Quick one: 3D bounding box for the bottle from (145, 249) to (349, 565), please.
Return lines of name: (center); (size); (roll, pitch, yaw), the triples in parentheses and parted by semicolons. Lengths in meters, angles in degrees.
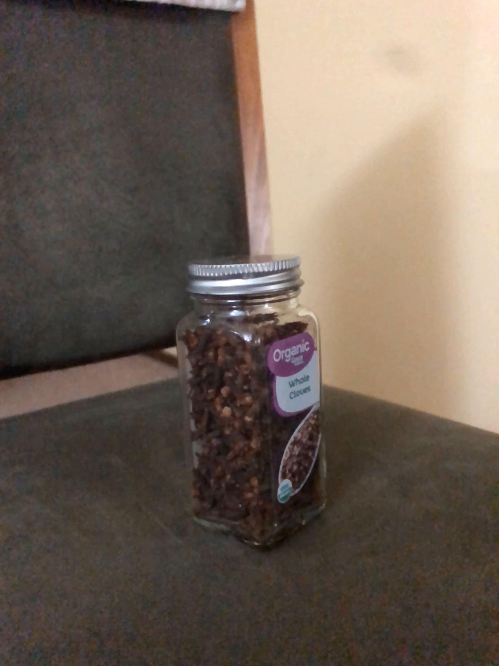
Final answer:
bottle: (0.001, 0.021, 0.213); (0.050, 0.100, 0.050); (-3, 12, 1)
